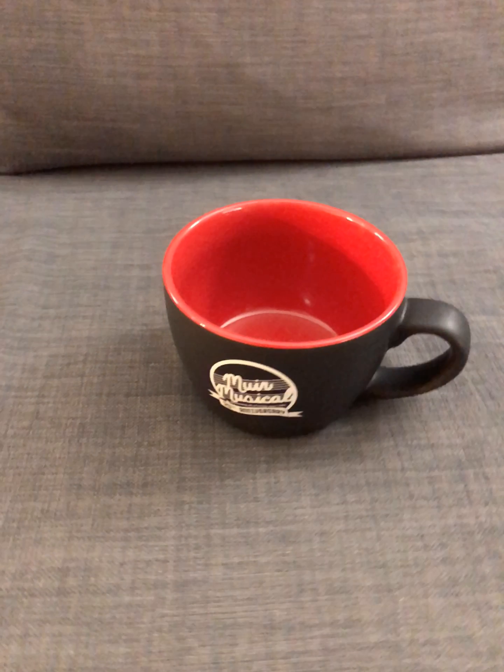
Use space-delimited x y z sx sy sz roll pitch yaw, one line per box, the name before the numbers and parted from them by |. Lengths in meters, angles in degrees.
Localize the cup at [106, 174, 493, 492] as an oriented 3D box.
cup | 0.031 -0.011 0.296 0.160 0.080 0.121 11 44 13
